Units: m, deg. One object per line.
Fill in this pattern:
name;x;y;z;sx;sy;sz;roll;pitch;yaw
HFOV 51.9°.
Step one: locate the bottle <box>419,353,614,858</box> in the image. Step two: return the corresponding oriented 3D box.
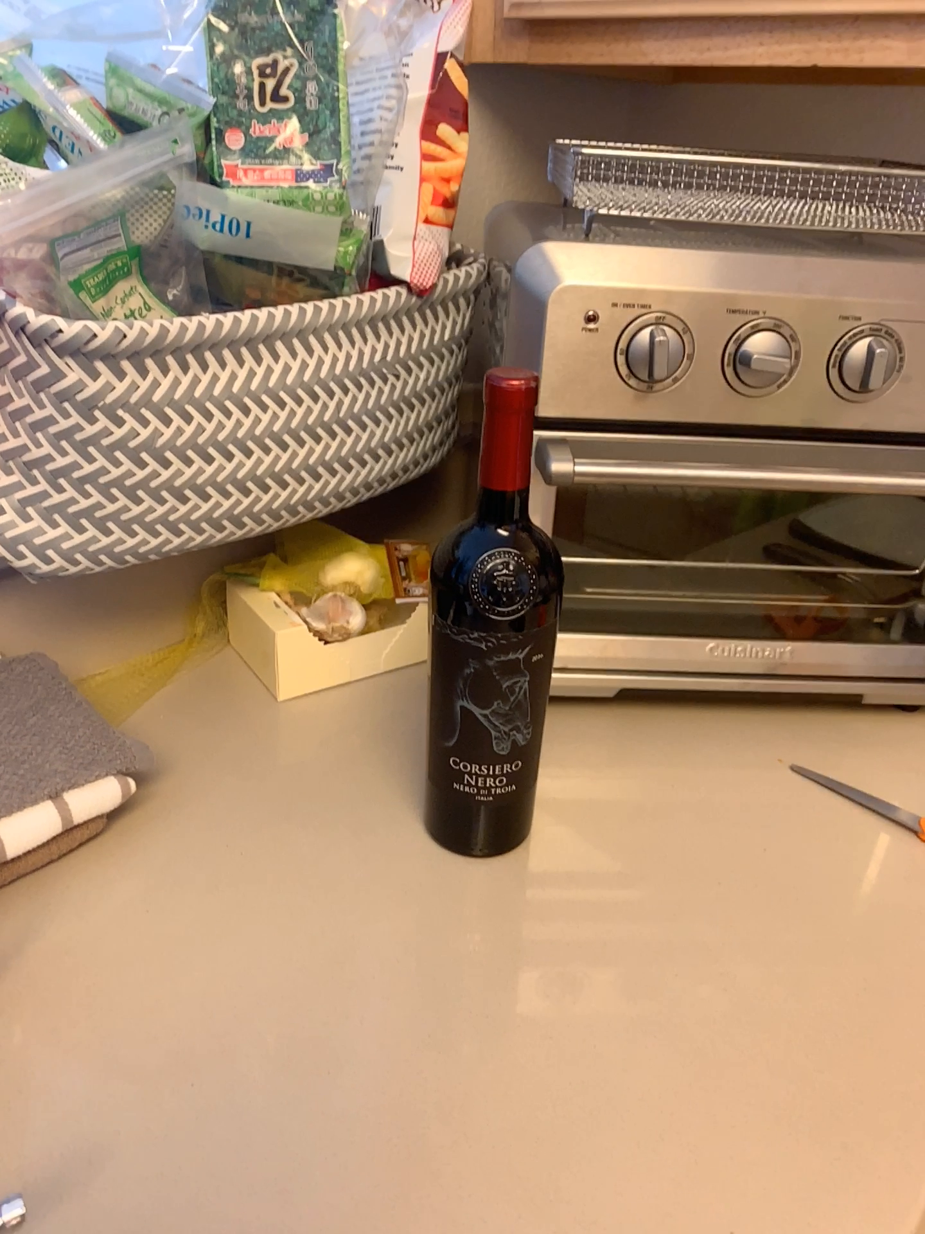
bottle;0.021;0.002;0.535;0.080;0.278;0.070;0;27;-6
